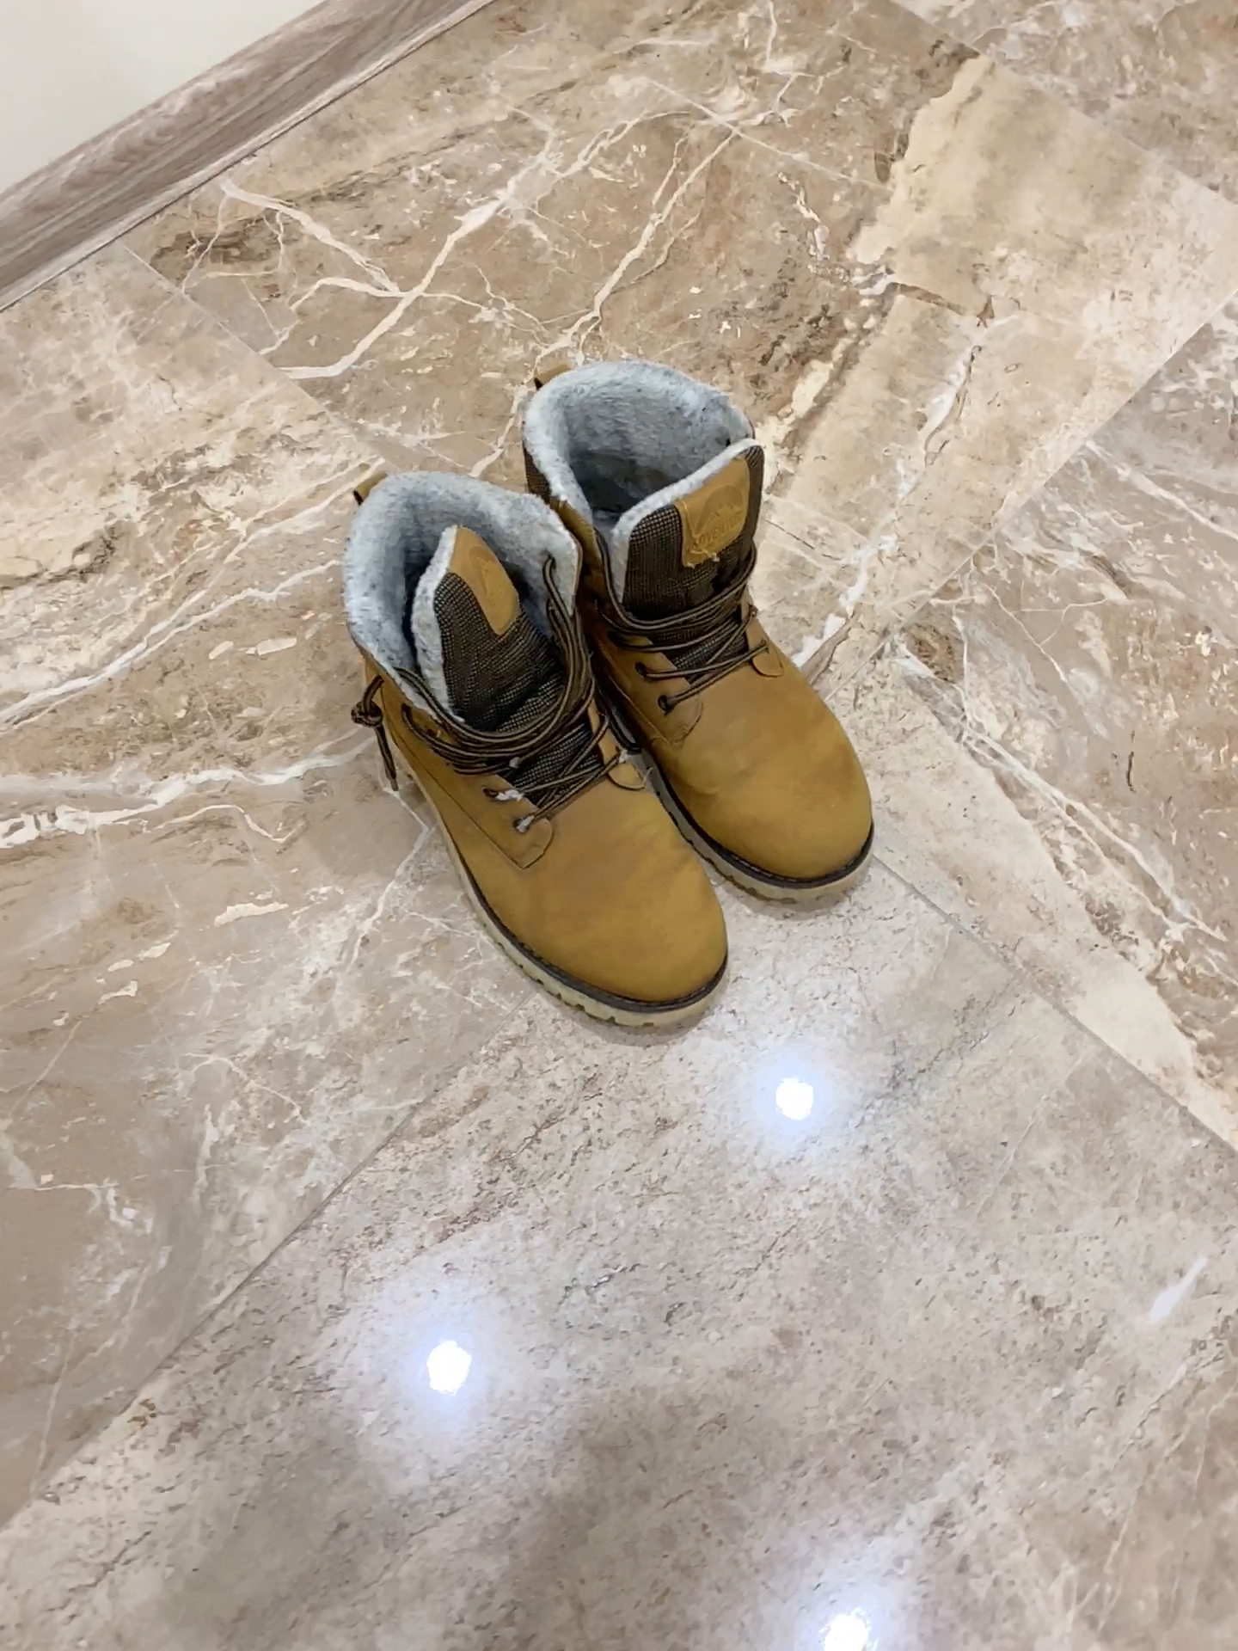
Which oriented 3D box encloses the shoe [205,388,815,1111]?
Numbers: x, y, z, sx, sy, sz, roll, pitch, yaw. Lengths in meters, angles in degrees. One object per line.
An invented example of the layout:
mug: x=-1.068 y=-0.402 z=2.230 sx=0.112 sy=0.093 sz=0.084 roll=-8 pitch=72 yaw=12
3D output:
shoe: x=-0.056 y=-0.033 z=0.597 sx=0.120 sy=0.160 sz=0.280 roll=-31 pitch=71 yaw=-16

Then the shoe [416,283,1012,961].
shoe: x=0.032 y=-0.099 z=0.620 sx=0.120 sy=0.140 sz=0.280 roll=-31 pitch=71 yaw=-16
